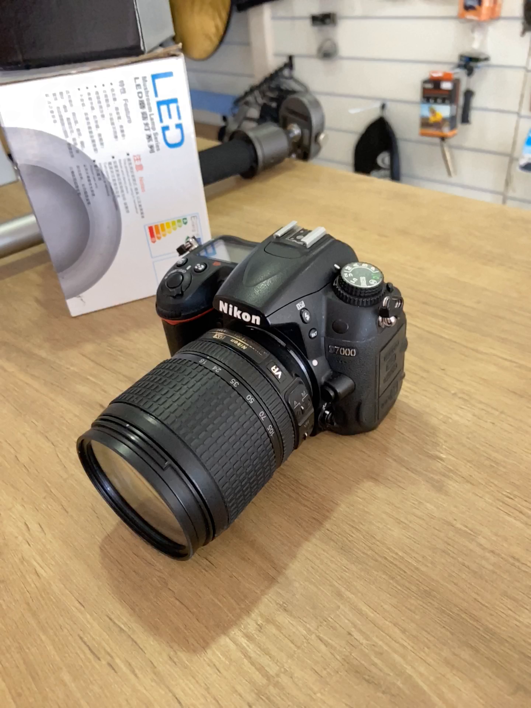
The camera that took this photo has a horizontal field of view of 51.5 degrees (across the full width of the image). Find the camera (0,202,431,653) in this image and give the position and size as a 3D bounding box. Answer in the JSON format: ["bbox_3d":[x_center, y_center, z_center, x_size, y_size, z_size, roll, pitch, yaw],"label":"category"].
[{"bbox_3d":[-0.021,0.012,0.266,0.140,0.099,0.161,17,42,30],"label":"camera"}]
